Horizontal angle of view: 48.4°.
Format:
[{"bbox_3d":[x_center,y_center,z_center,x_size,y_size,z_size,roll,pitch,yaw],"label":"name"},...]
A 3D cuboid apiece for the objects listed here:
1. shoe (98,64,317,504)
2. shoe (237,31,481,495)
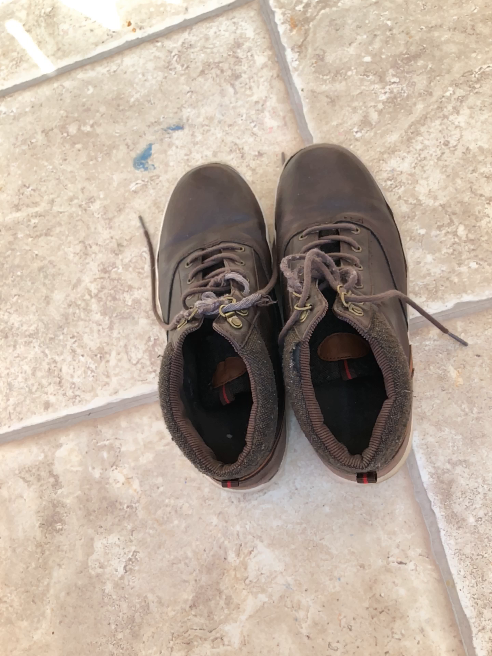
[{"bbox_3d":[-0.028,-0.024,0.441,0.110,0.150,0.301,-10,72,11],"label":"shoe"},{"bbox_3d":[0.076,-0.036,0.416,0.110,0.150,0.301,-9,73,11],"label":"shoe"}]
